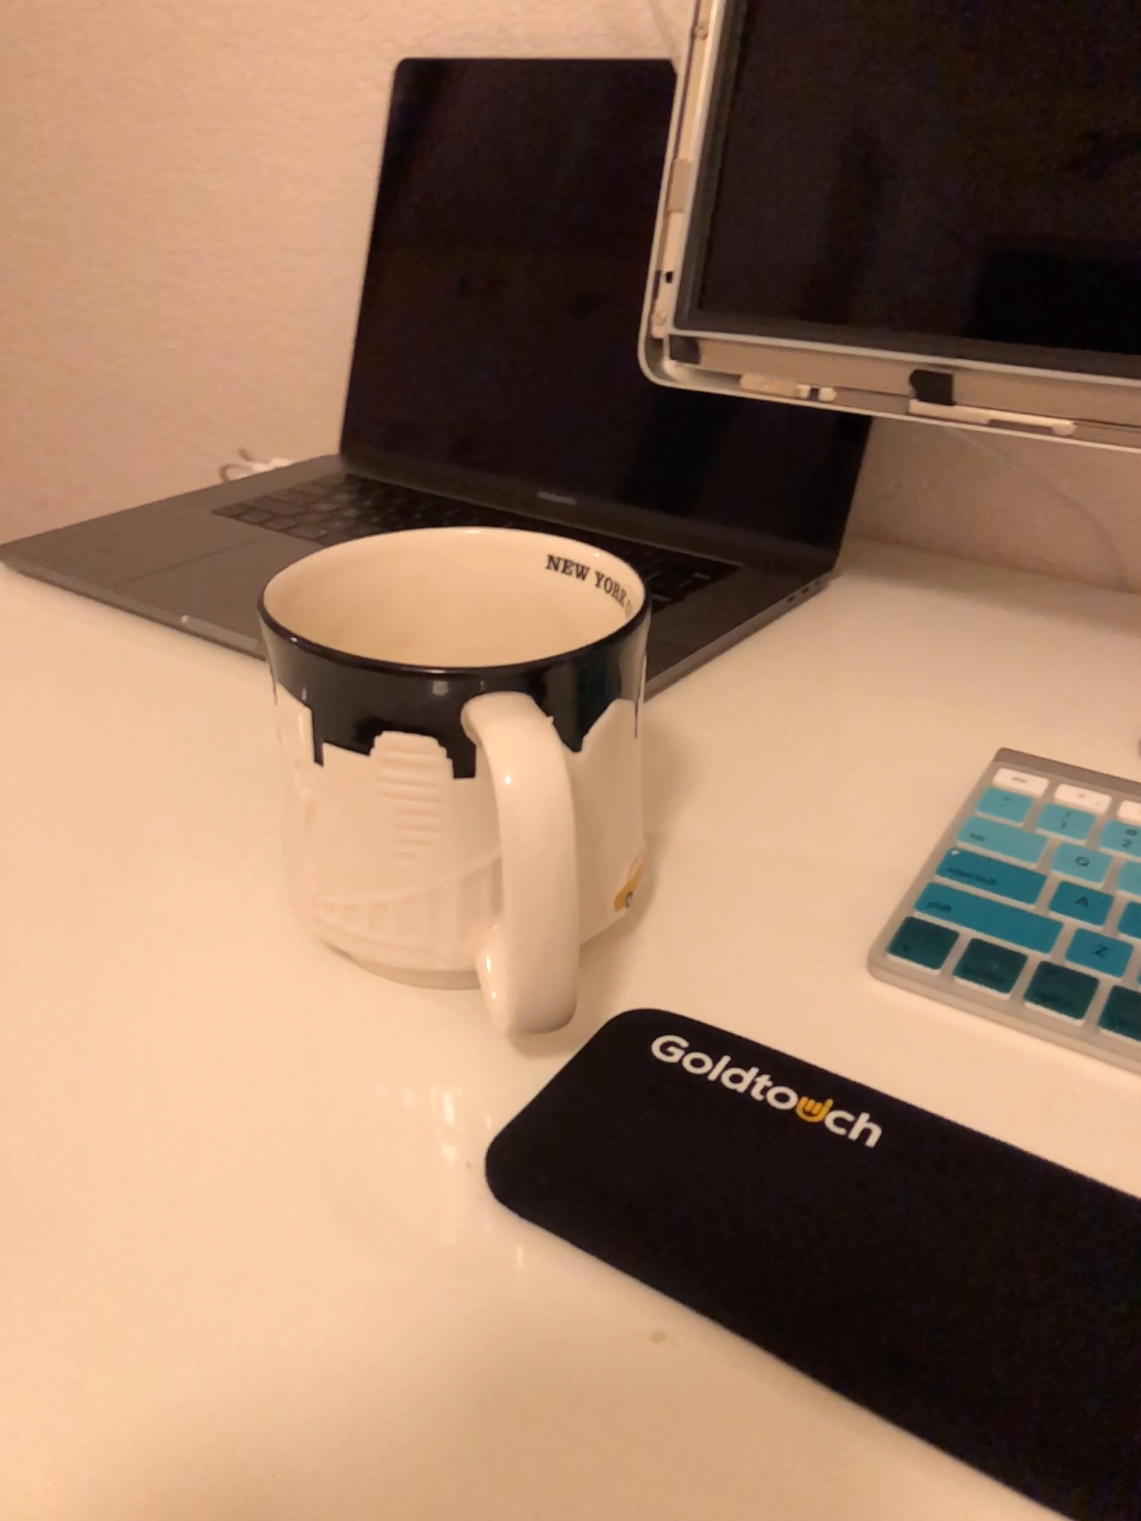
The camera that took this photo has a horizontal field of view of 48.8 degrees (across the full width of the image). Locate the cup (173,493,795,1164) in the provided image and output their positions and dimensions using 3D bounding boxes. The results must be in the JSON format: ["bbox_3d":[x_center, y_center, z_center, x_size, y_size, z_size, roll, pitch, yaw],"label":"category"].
[{"bbox_3d":[-0.034,0.001,0.328,0.110,0.089,0.161,-9,30,-18],"label":"cup"}]
